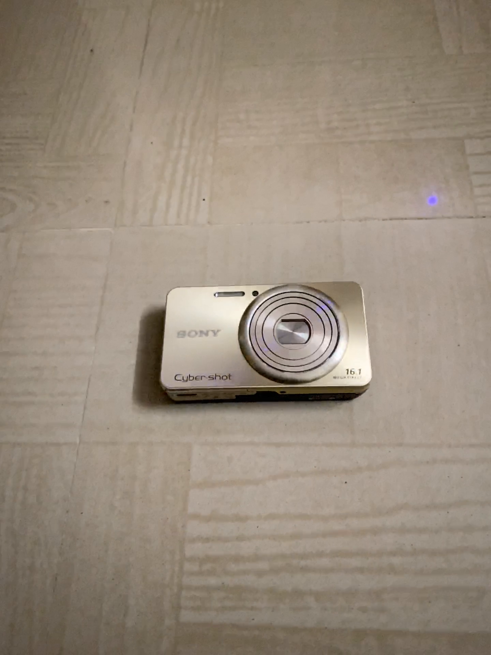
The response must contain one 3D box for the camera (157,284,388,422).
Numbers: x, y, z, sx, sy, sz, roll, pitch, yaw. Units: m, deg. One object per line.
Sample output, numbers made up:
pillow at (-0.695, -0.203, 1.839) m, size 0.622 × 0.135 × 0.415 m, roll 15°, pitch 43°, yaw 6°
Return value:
camera at (0.013, 0.011, 0.234) m, size 0.097 × 0.019 × 0.057 m, roll 2°, pitch 65°, yaw 6°
